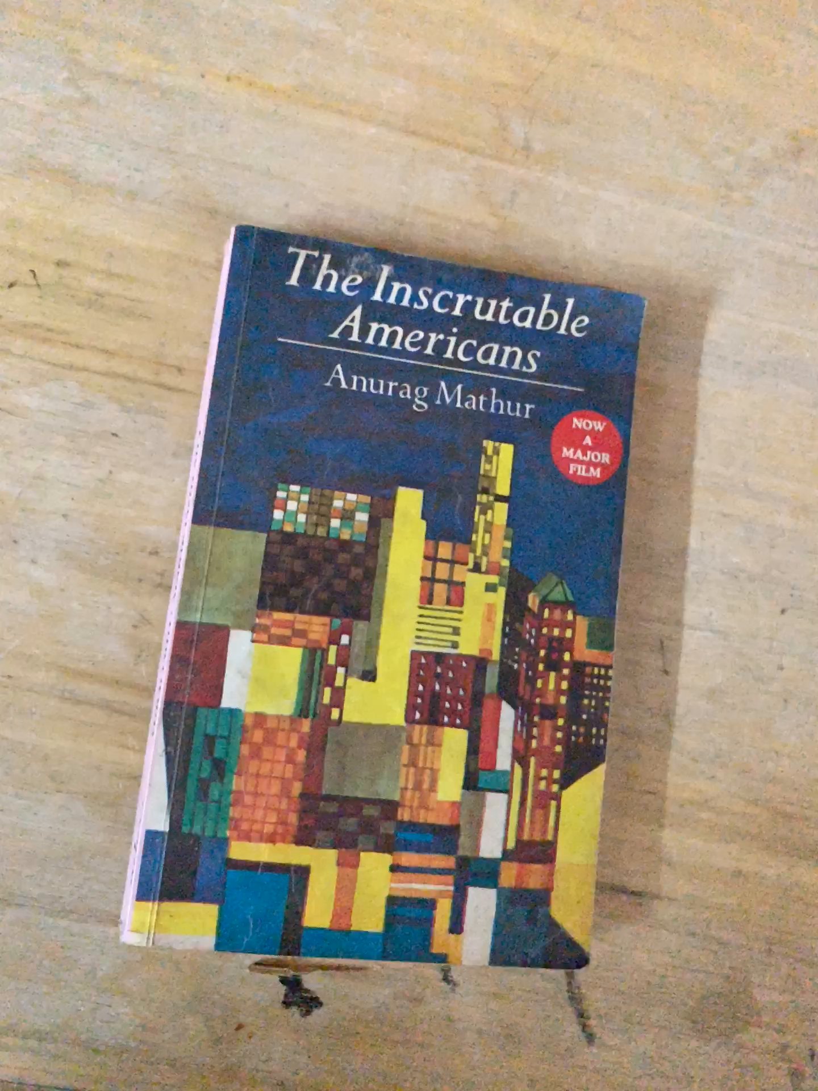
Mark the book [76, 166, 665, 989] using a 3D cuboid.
[{"bbox_3d":[-0.004,0.008,0.215,0.120,0.030,0.180,7,82,-10],"label":"book"}]
